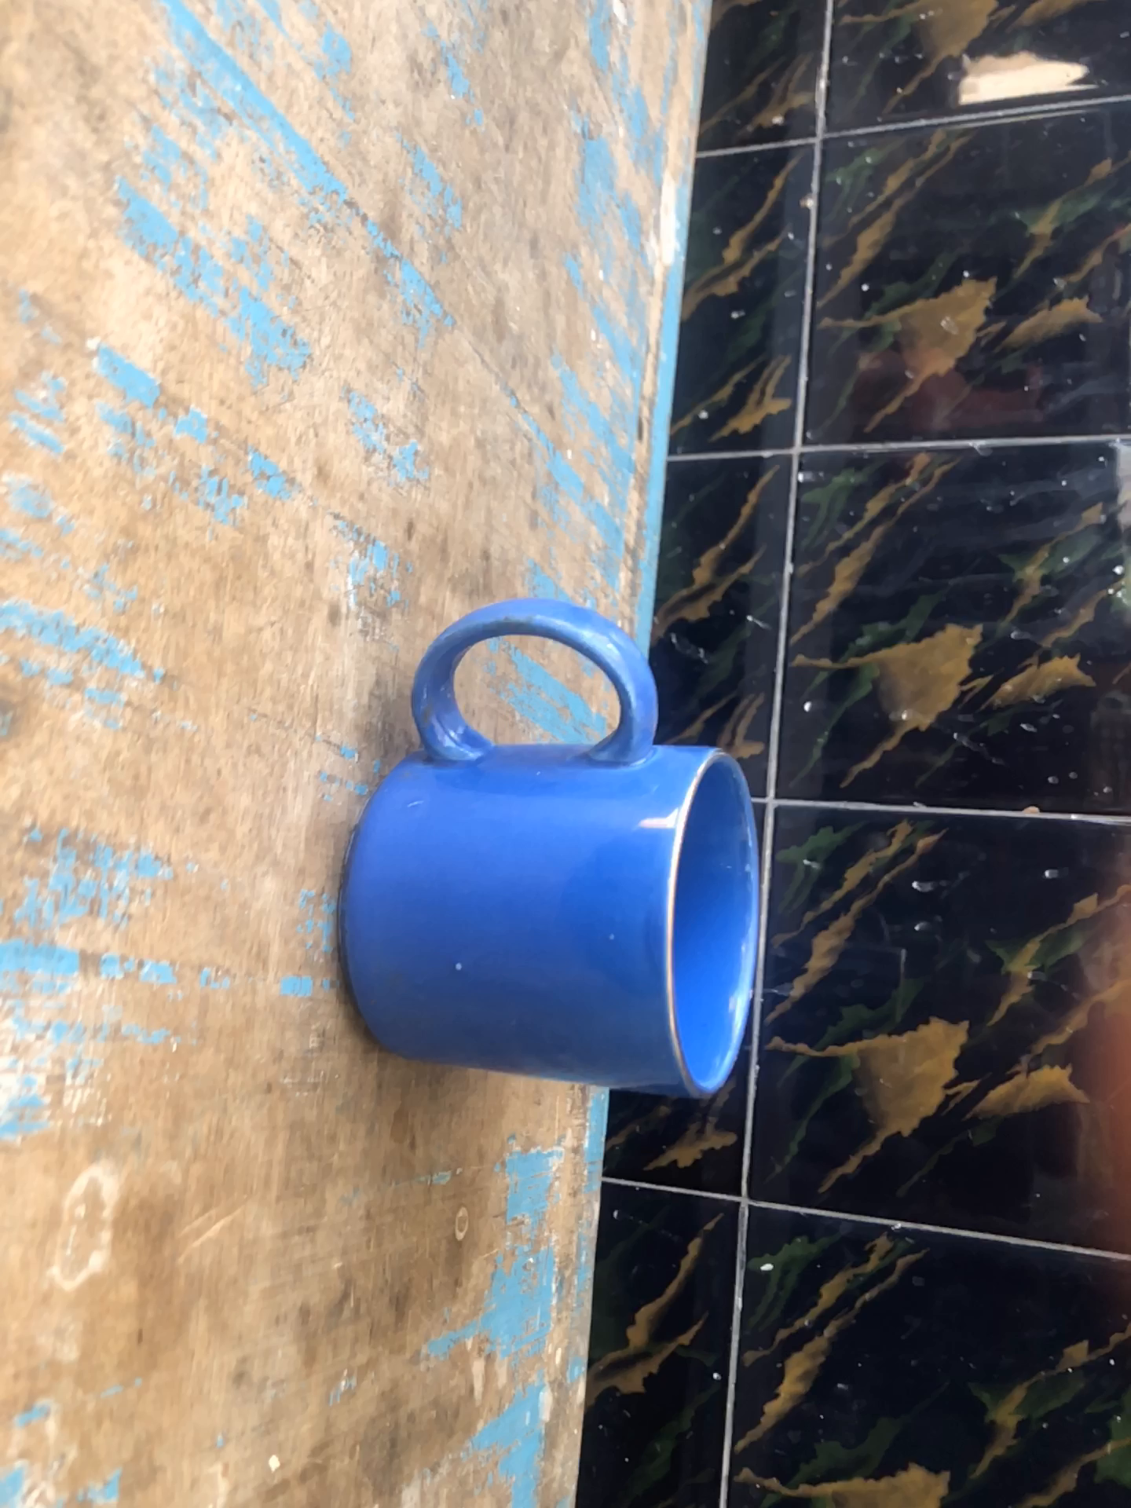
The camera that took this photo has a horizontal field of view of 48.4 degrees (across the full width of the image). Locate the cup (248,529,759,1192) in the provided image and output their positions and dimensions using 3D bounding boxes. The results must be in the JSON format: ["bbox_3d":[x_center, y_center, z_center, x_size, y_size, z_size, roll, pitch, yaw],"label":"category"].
[{"bbox_3d":[-0.005,0.017,0.258,0.070,0.070,0.110,-48,136,-61],"label":"cup"}]
